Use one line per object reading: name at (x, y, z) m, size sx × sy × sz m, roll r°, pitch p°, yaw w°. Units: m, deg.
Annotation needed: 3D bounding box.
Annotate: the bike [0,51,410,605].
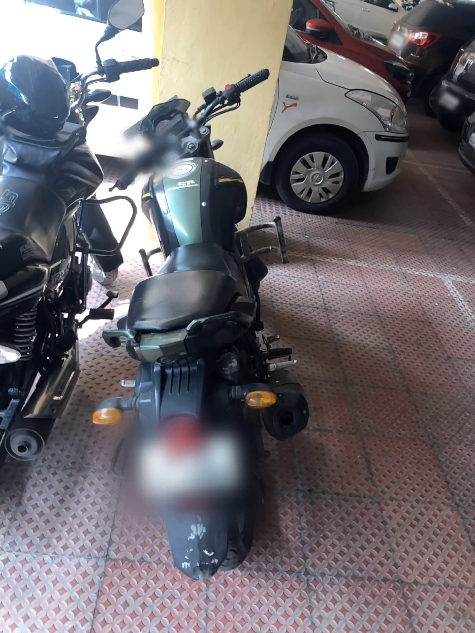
bike at (-0.301, -0.174, 1.830) m, size 0.738 × 1.090 × 1.818 m, roll 4°, pitch 32°, yaw -11°
